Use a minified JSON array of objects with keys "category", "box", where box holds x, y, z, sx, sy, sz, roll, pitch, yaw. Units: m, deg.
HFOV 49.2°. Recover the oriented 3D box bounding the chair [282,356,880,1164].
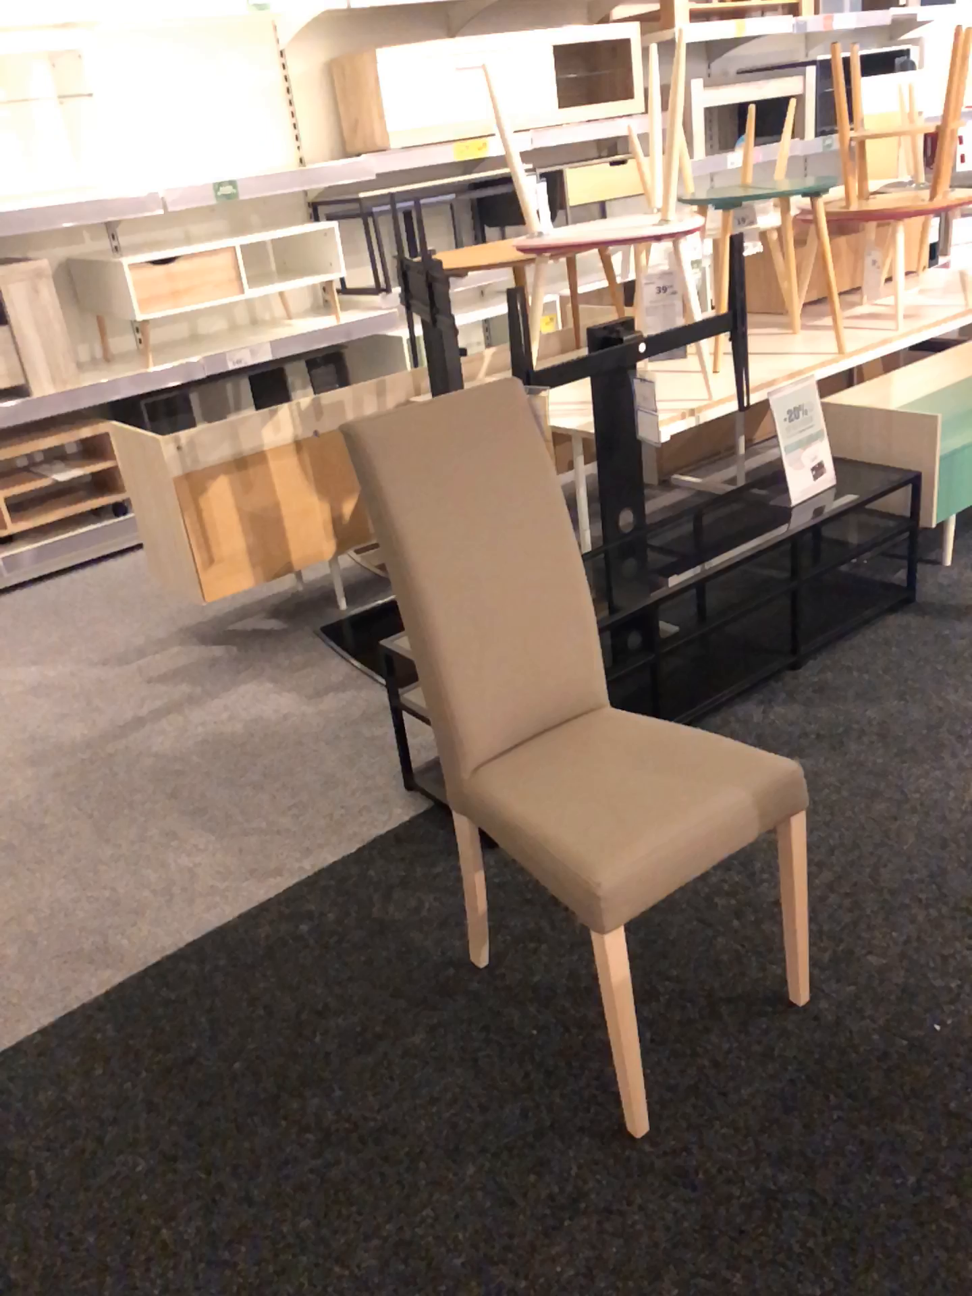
[{"category":"chair","box":[0.157,0.106,1.639,0.532,0.945,0.631,-23,29,-29]}]
